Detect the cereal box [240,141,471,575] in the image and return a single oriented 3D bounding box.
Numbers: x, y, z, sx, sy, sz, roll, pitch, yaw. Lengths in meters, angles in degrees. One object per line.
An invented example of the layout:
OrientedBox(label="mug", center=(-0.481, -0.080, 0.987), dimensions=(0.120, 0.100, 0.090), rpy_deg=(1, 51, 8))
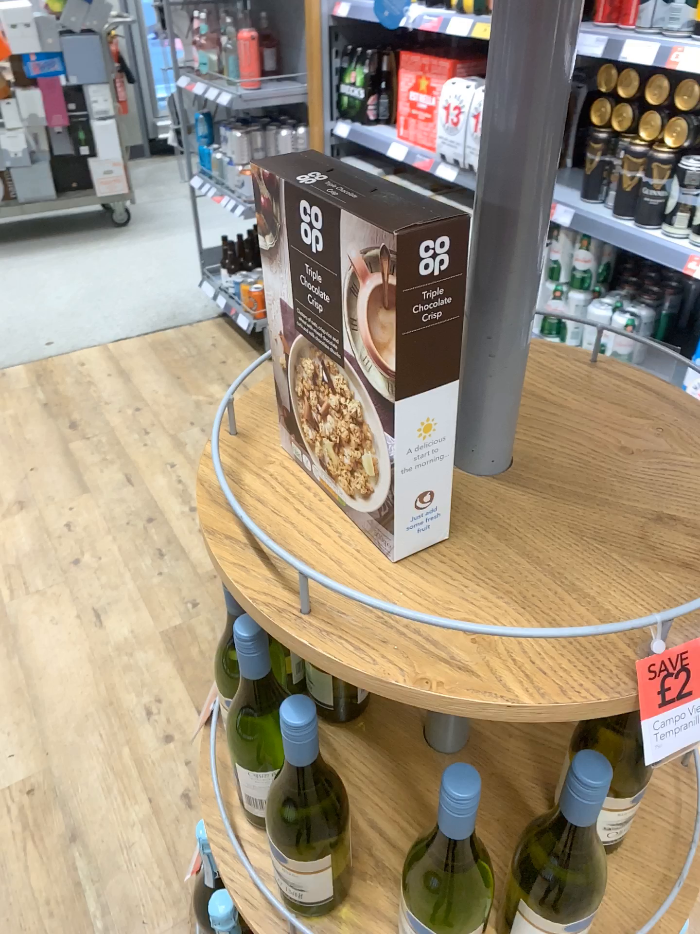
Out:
OrientedBox(label="cereal box", center=(-0.002, -0.079, 0.514), dimensions=(0.050, 0.247, 0.191), rpy_deg=(-21, 41, -23))
